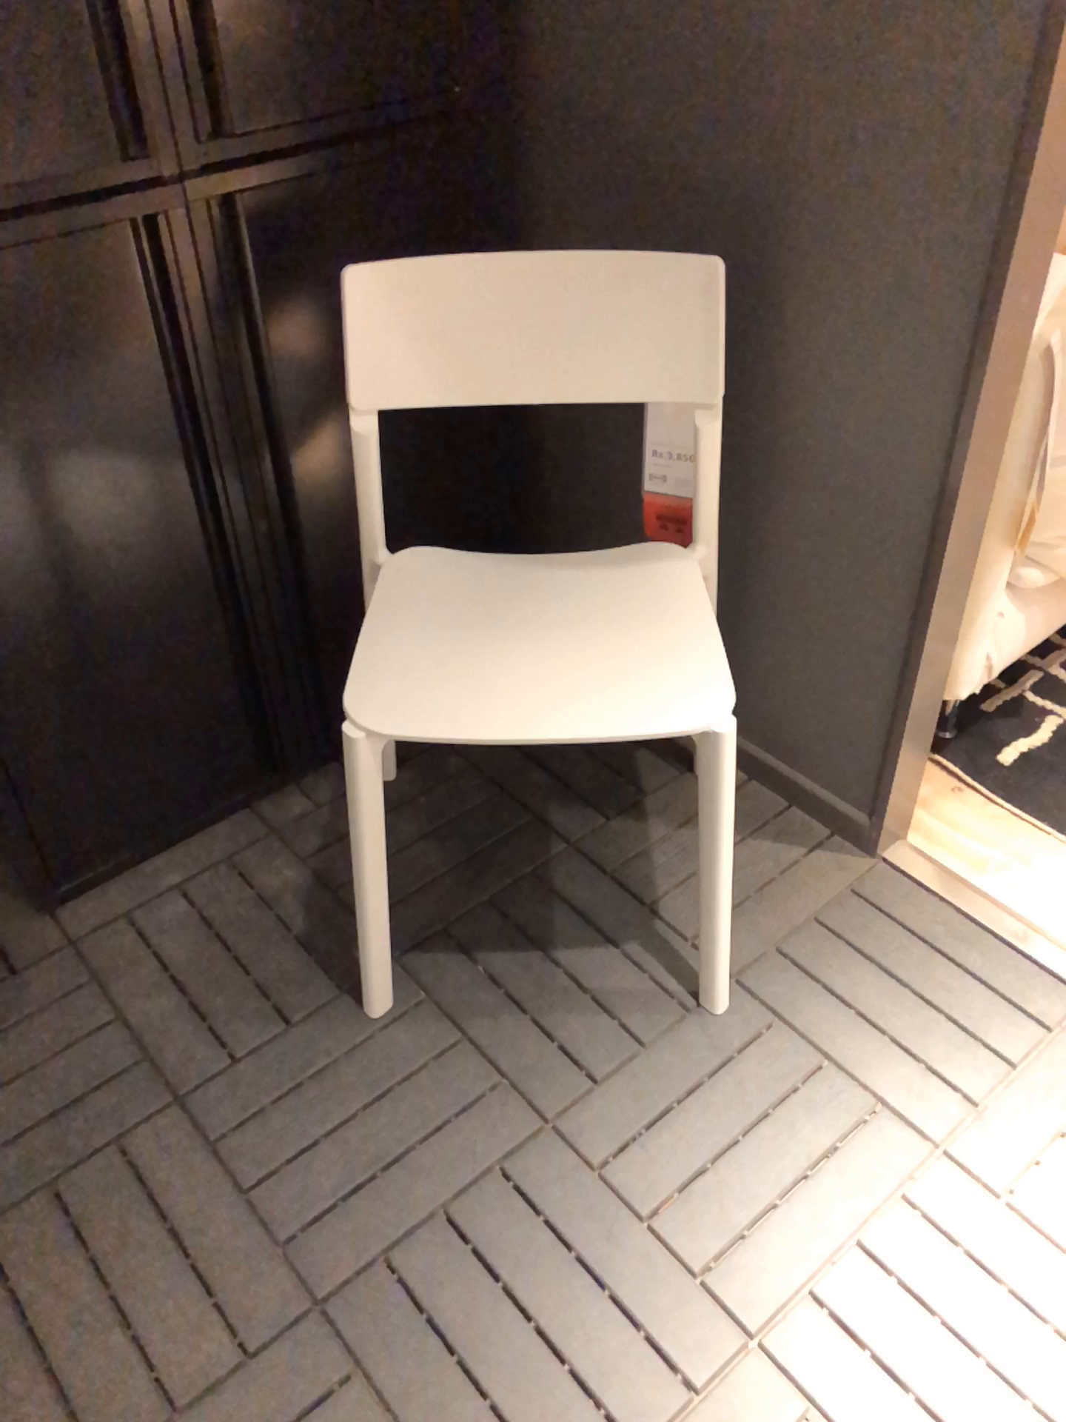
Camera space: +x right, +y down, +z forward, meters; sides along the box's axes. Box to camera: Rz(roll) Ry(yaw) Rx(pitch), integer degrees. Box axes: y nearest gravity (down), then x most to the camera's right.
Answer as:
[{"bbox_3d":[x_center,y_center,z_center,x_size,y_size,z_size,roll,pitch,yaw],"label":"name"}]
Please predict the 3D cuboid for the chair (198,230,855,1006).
[{"bbox_3d":[0.003,-0.090,1.293,0.500,0.705,0.473,-1,39,1],"label":"chair"}]
